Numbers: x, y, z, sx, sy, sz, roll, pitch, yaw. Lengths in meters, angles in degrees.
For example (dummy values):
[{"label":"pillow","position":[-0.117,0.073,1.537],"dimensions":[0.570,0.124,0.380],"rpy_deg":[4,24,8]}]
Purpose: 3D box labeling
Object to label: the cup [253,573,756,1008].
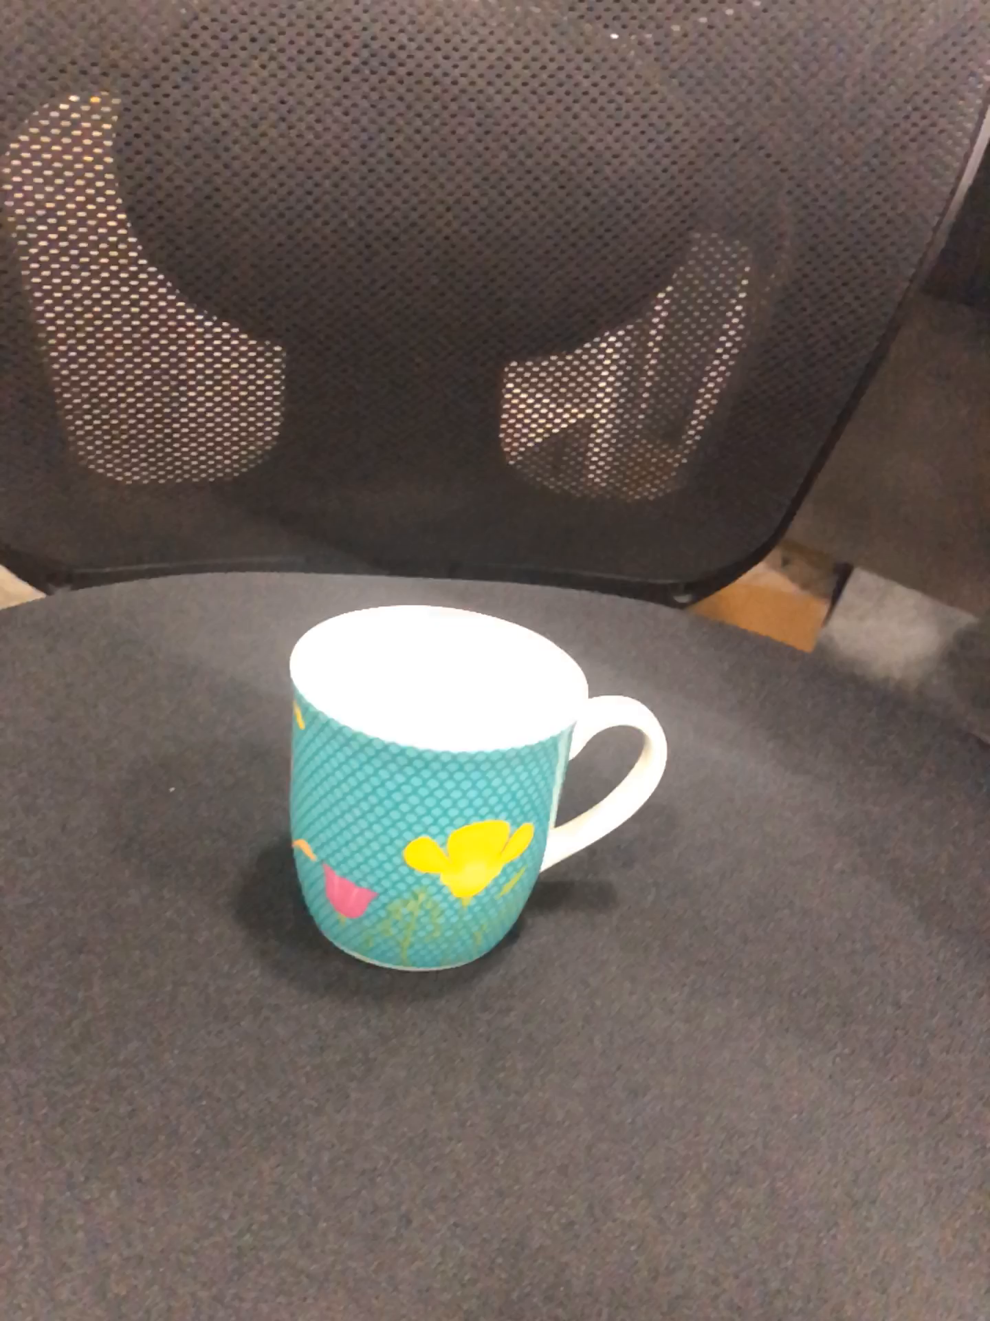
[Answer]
[{"label":"cup","position":[-0.003,0.031,0.306],"dimensions":[0.110,0.080,0.070],"rpy_deg":[-5,34,-24]}]
